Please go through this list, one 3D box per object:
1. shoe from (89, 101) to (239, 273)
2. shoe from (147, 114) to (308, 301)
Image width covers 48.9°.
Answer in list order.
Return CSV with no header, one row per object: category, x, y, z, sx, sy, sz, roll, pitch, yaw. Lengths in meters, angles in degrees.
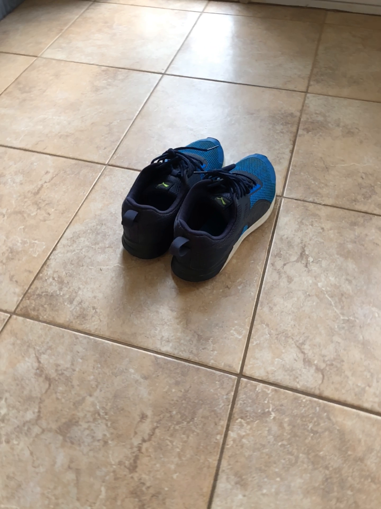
shoe,-0.030,-0.122,0.693,0.110,0.100,0.281,21,56,18
shoe,0.067,-0.085,0.656,0.110,0.100,0.291,25,57,20
